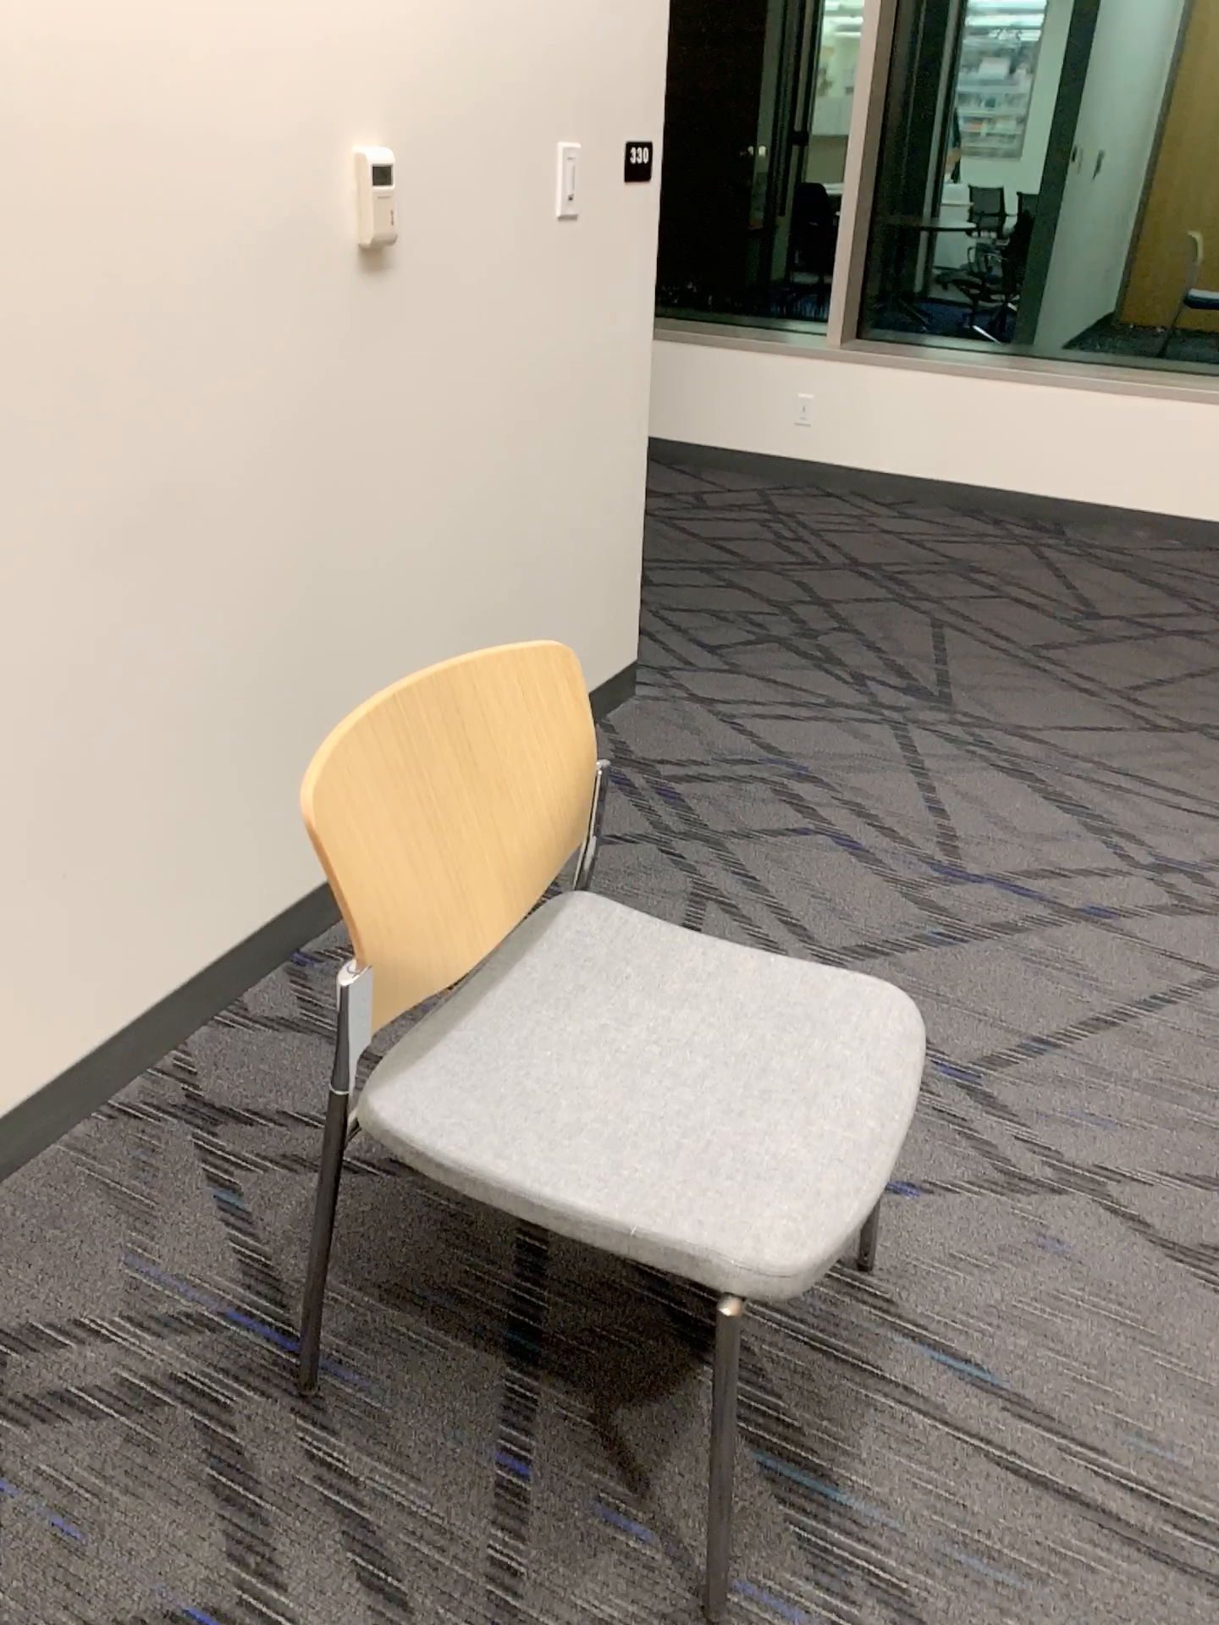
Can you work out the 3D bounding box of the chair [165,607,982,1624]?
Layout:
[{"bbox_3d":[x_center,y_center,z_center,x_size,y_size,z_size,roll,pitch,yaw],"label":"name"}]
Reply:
[{"bbox_3d":[-0.004,0.257,1.271,0.536,0.704,0.557,14,31,21],"label":"chair"}]
